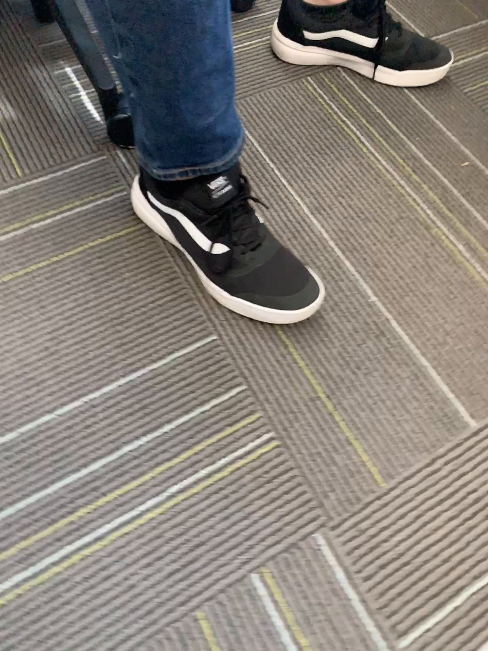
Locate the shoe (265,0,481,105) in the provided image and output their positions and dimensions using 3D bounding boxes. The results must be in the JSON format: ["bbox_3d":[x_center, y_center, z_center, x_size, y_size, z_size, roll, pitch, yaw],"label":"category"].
[{"bbox_3d":[0.209,-0.485,0.833,0.320,0.110,0.120,11,62,1],"label":"shoe"}]

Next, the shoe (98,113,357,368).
[{"bbox_3d":[-0.030,-0.113,0.647,0.120,0.120,0.321,-41,72,-22],"label":"shoe"}]
